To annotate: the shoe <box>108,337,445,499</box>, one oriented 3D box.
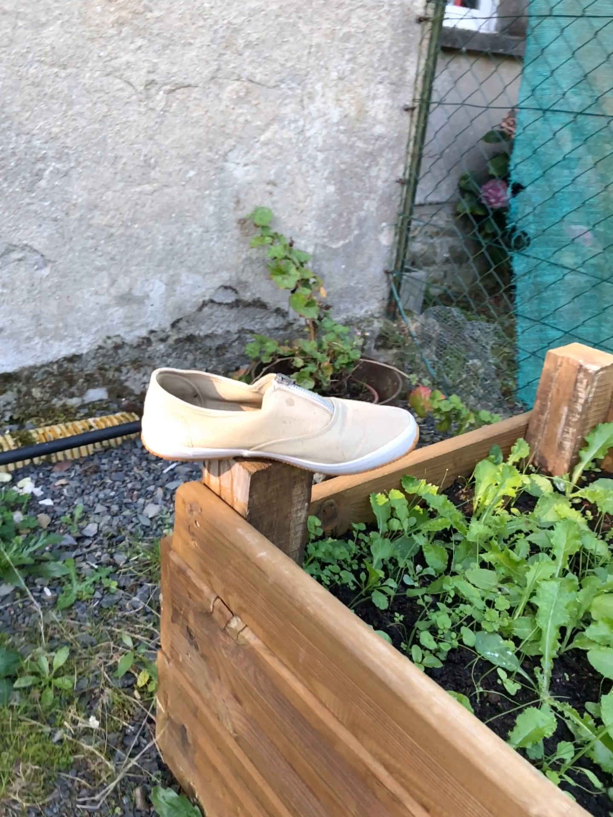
[{"bbox_3d":[-0.021,0.003,0.576,0.260,0.070,0.111,6,25,5],"label":"shoe"}]
